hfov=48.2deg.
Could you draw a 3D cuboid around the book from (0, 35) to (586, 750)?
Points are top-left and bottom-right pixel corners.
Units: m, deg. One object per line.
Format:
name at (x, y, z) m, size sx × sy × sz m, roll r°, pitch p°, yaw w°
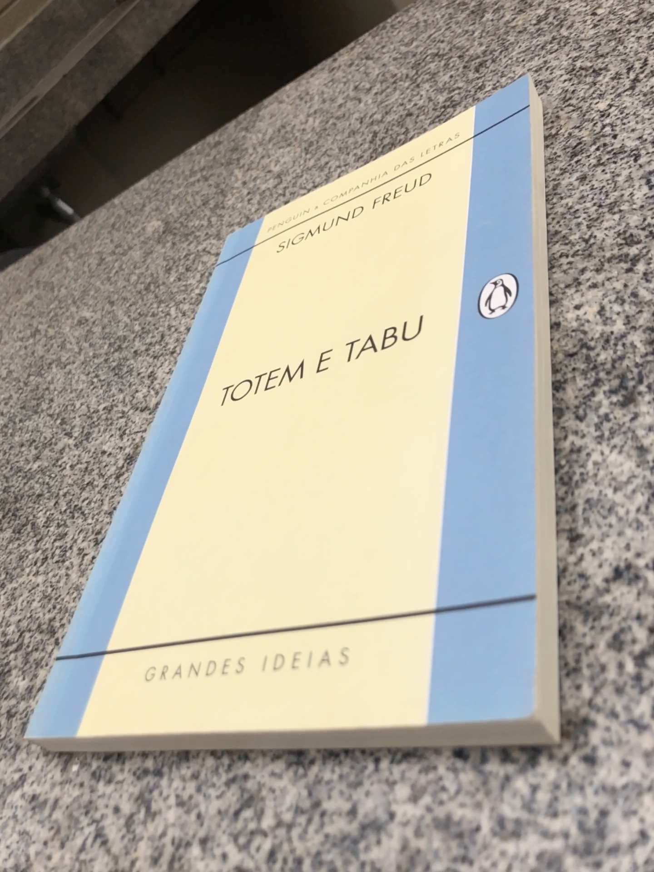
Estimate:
book at (-0.005, -0.021, 0.188) m, size 0.130 × 0.015 × 0.192 m, roll -16°, pitch 44°, yaw 32°
